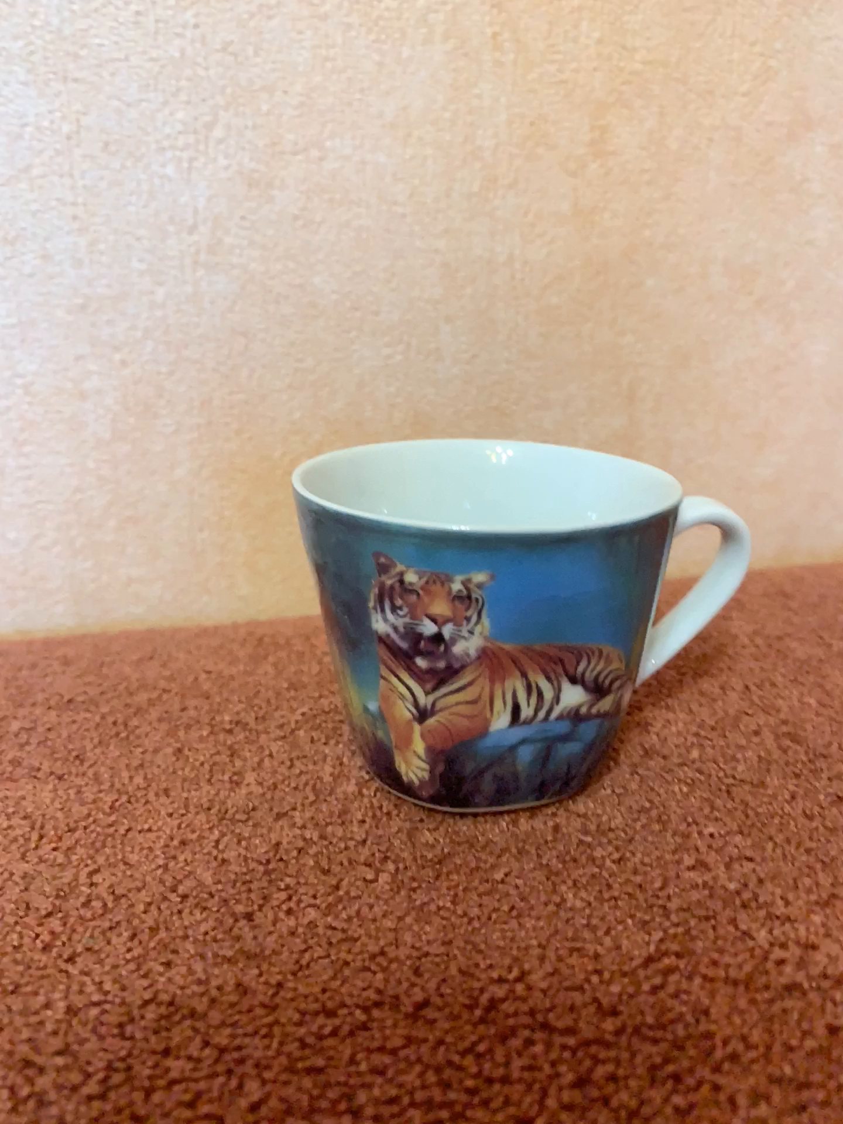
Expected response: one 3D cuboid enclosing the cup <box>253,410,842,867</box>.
[{"bbox_3d":[0.015,0.005,0.157,0.083,0.048,0.072,-5,19,-8],"label":"cup"}]
